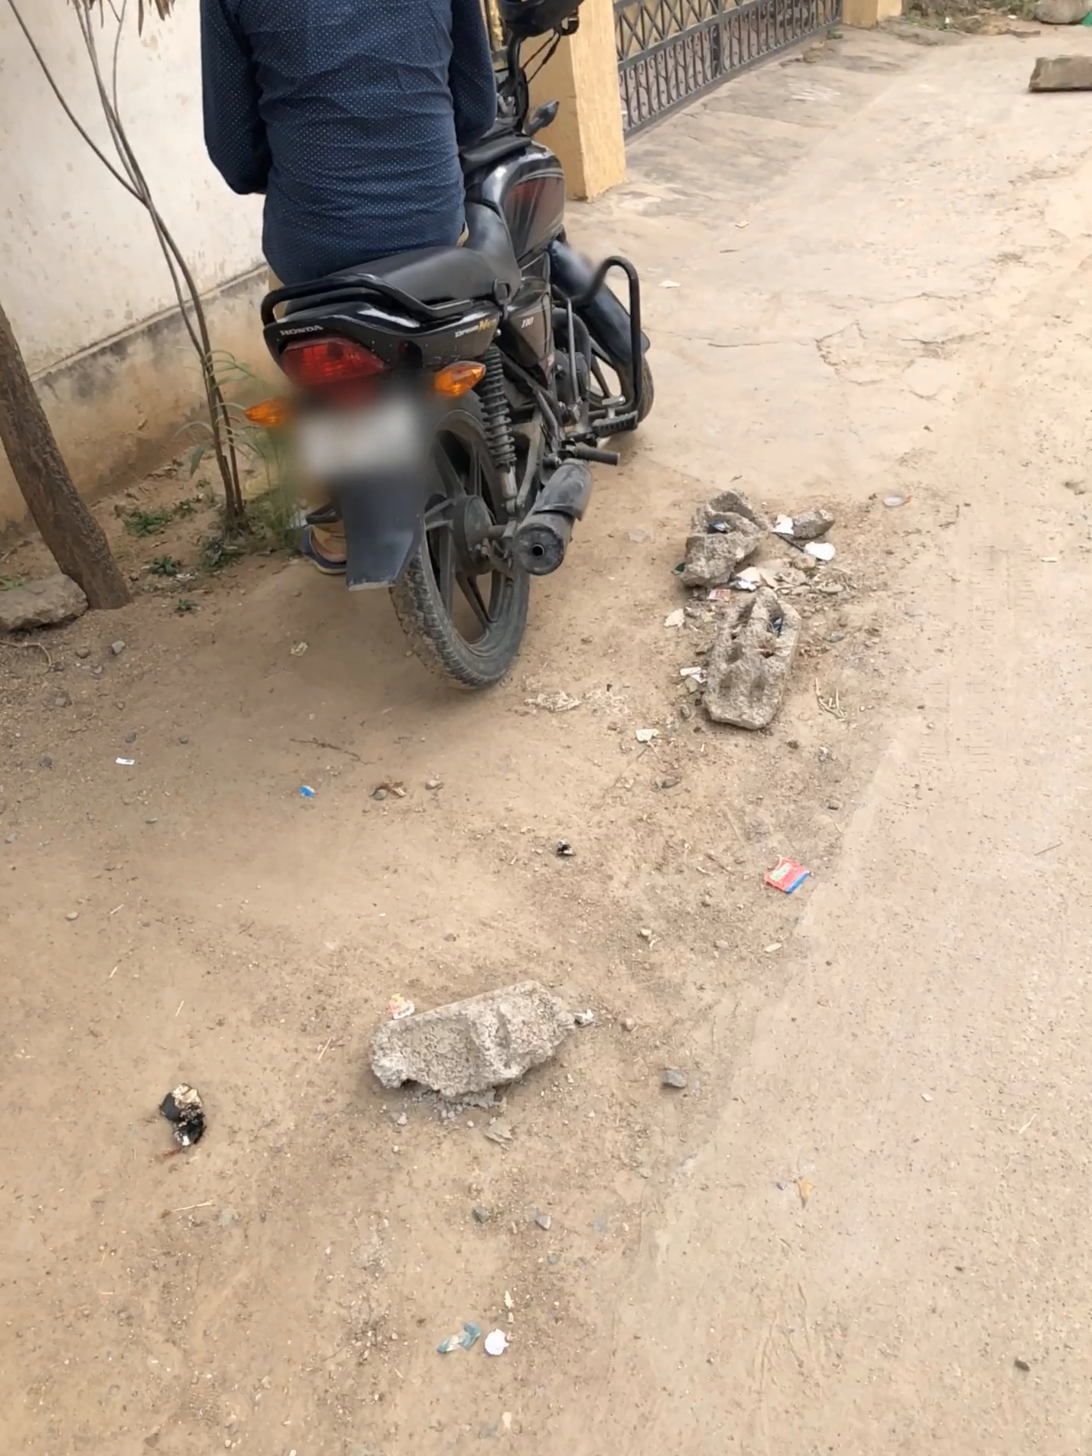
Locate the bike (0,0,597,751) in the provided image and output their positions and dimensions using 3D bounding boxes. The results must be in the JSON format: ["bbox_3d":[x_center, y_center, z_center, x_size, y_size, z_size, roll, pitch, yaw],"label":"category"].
[{"bbox_3d":[-0.315,-0.875,2.607,0.720,1.070,1.675,-3,35,7],"label":"bike"}]
